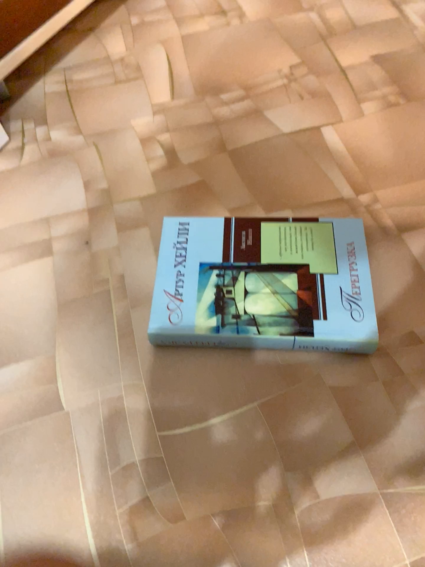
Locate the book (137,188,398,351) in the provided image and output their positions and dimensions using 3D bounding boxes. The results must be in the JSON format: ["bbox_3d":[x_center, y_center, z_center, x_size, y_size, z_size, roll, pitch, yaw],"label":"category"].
[{"bbox_3d":[0.046,-0.018,0.406,0.210,0.040,0.151,1,61,4],"label":"book"}]
